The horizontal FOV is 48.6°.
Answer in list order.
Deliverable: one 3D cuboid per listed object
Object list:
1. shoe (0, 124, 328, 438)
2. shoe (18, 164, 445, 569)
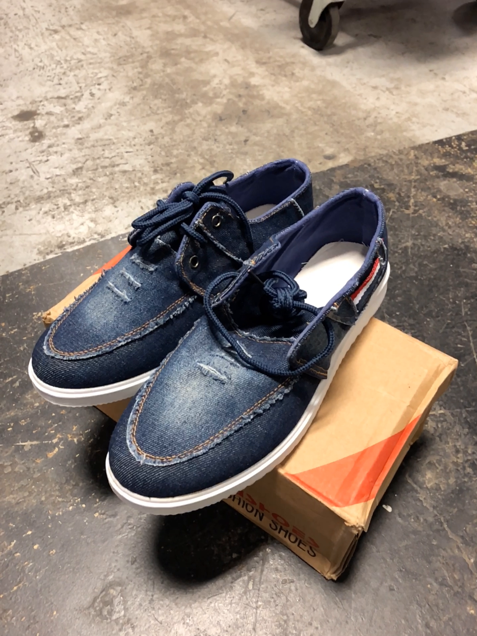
[{"bbox_3d":[-0.056,-0.041,0.378,0.251,0.079,0.090,-36,58,-27],"label":"shoe"},{"bbox_3d":[0.014,0.009,0.346,0.100,0.079,0.271,34,57,26],"label":"shoe"}]
